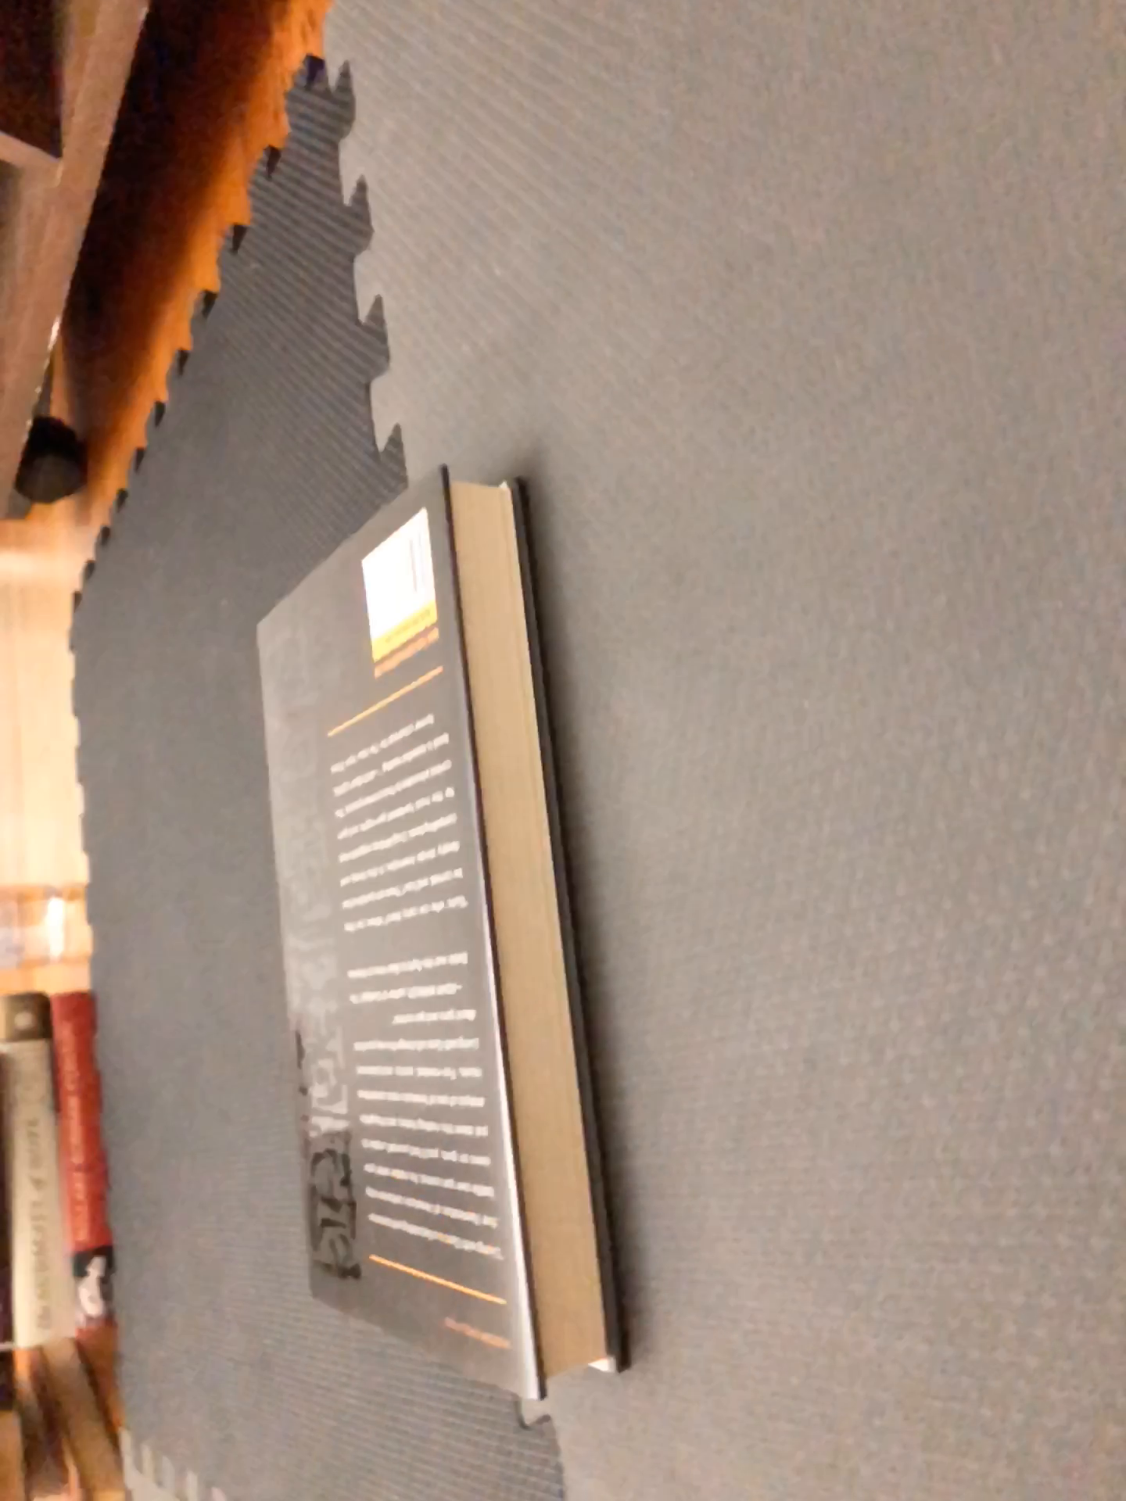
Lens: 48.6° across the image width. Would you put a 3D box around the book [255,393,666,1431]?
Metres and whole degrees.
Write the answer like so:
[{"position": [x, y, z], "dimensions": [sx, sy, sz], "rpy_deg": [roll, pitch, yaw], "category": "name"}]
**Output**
[{"position": [-0.046, 0.047, 0.396], "dimensions": [0.171, 0.040, 0.260], "rpy_deg": [-19, 73, 58], "category": "book"}]
